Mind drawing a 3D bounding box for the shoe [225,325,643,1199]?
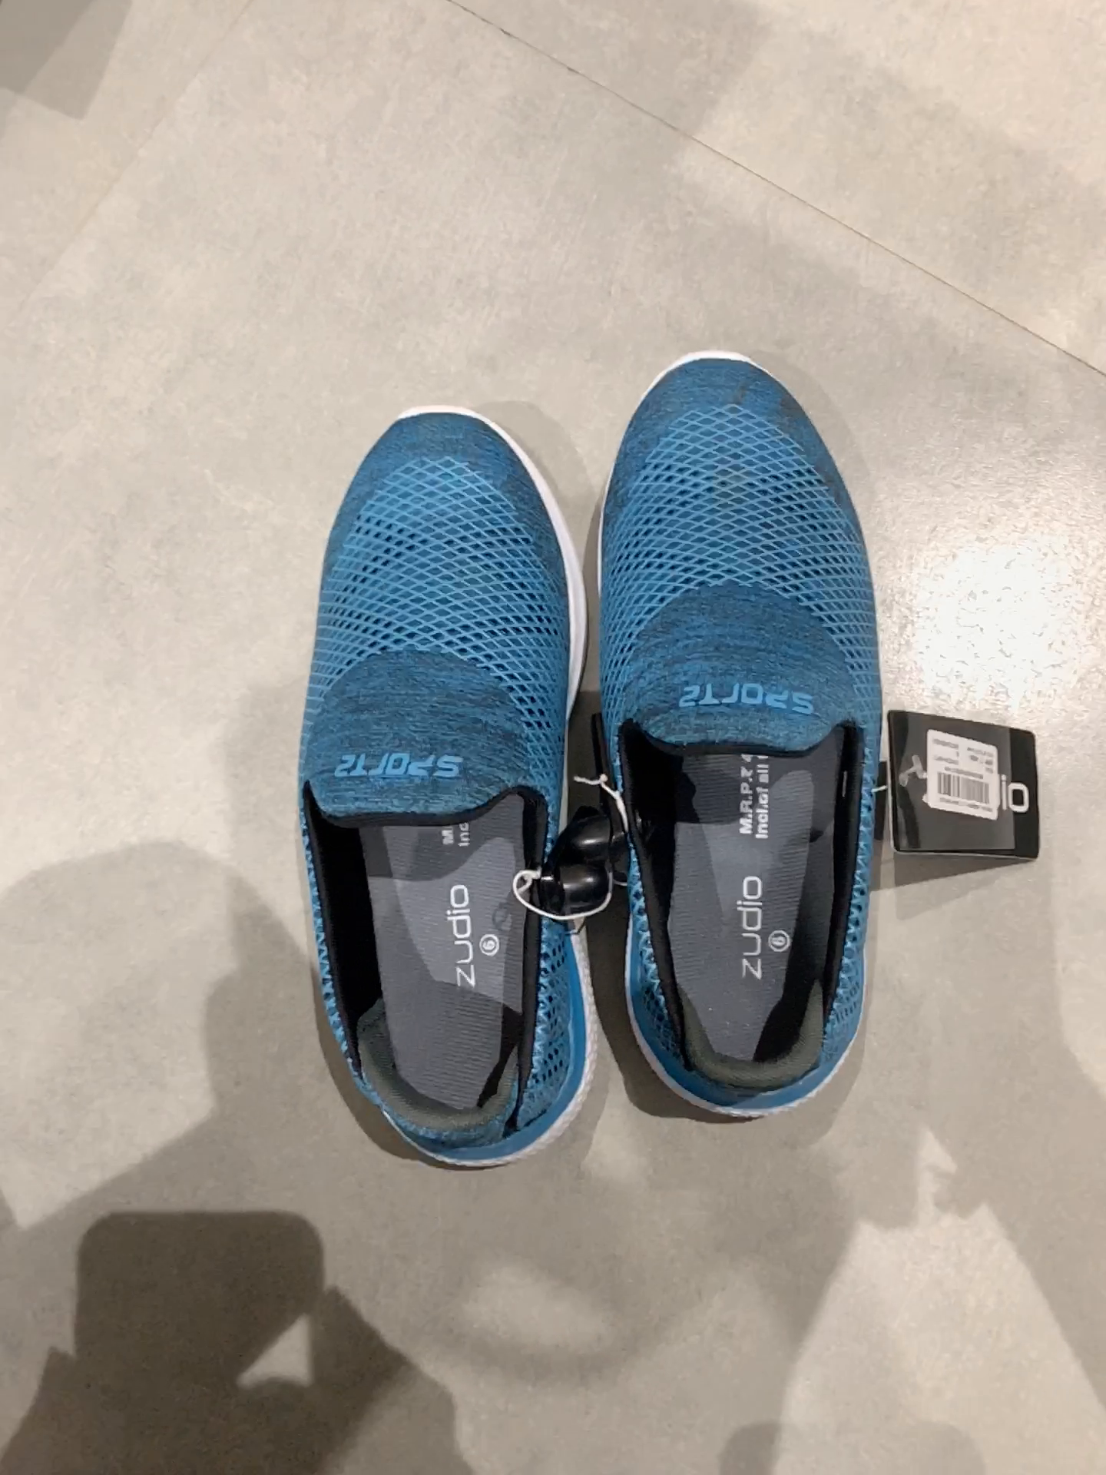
[{"bbox_3d":[-0.038,0.008,0.387,0.110,0.080,0.260,-6,82,6],"label":"shoe"}]

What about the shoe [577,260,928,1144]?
[{"bbox_3d":[0.058,-0.010,0.361,0.090,0.080,0.250,-2,83,7],"label":"shoe"}]
